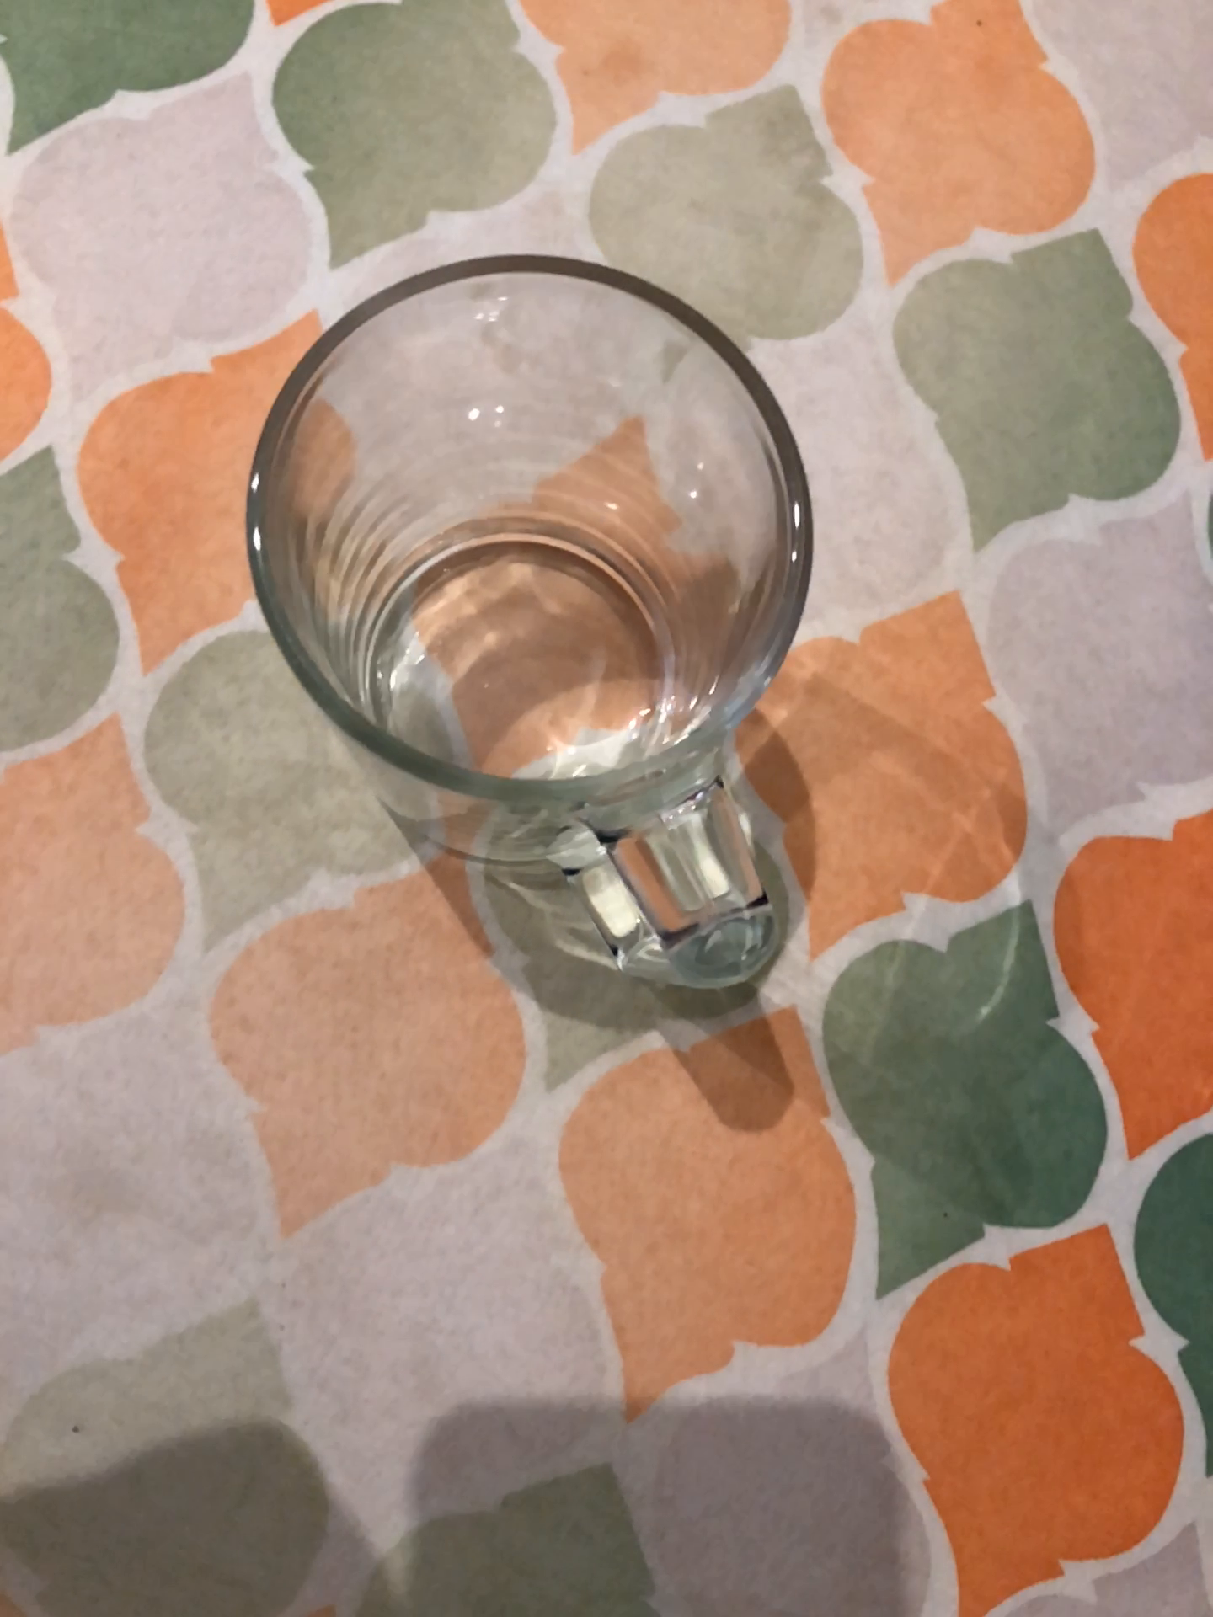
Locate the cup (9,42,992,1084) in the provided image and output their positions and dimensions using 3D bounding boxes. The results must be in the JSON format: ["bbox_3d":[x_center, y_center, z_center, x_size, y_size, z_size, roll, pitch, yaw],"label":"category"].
[{"bbox_3d":[-0.017,-0.027,0.215,0.080,0.100,0.110,-26,84,-8],"label":"cup"}]
